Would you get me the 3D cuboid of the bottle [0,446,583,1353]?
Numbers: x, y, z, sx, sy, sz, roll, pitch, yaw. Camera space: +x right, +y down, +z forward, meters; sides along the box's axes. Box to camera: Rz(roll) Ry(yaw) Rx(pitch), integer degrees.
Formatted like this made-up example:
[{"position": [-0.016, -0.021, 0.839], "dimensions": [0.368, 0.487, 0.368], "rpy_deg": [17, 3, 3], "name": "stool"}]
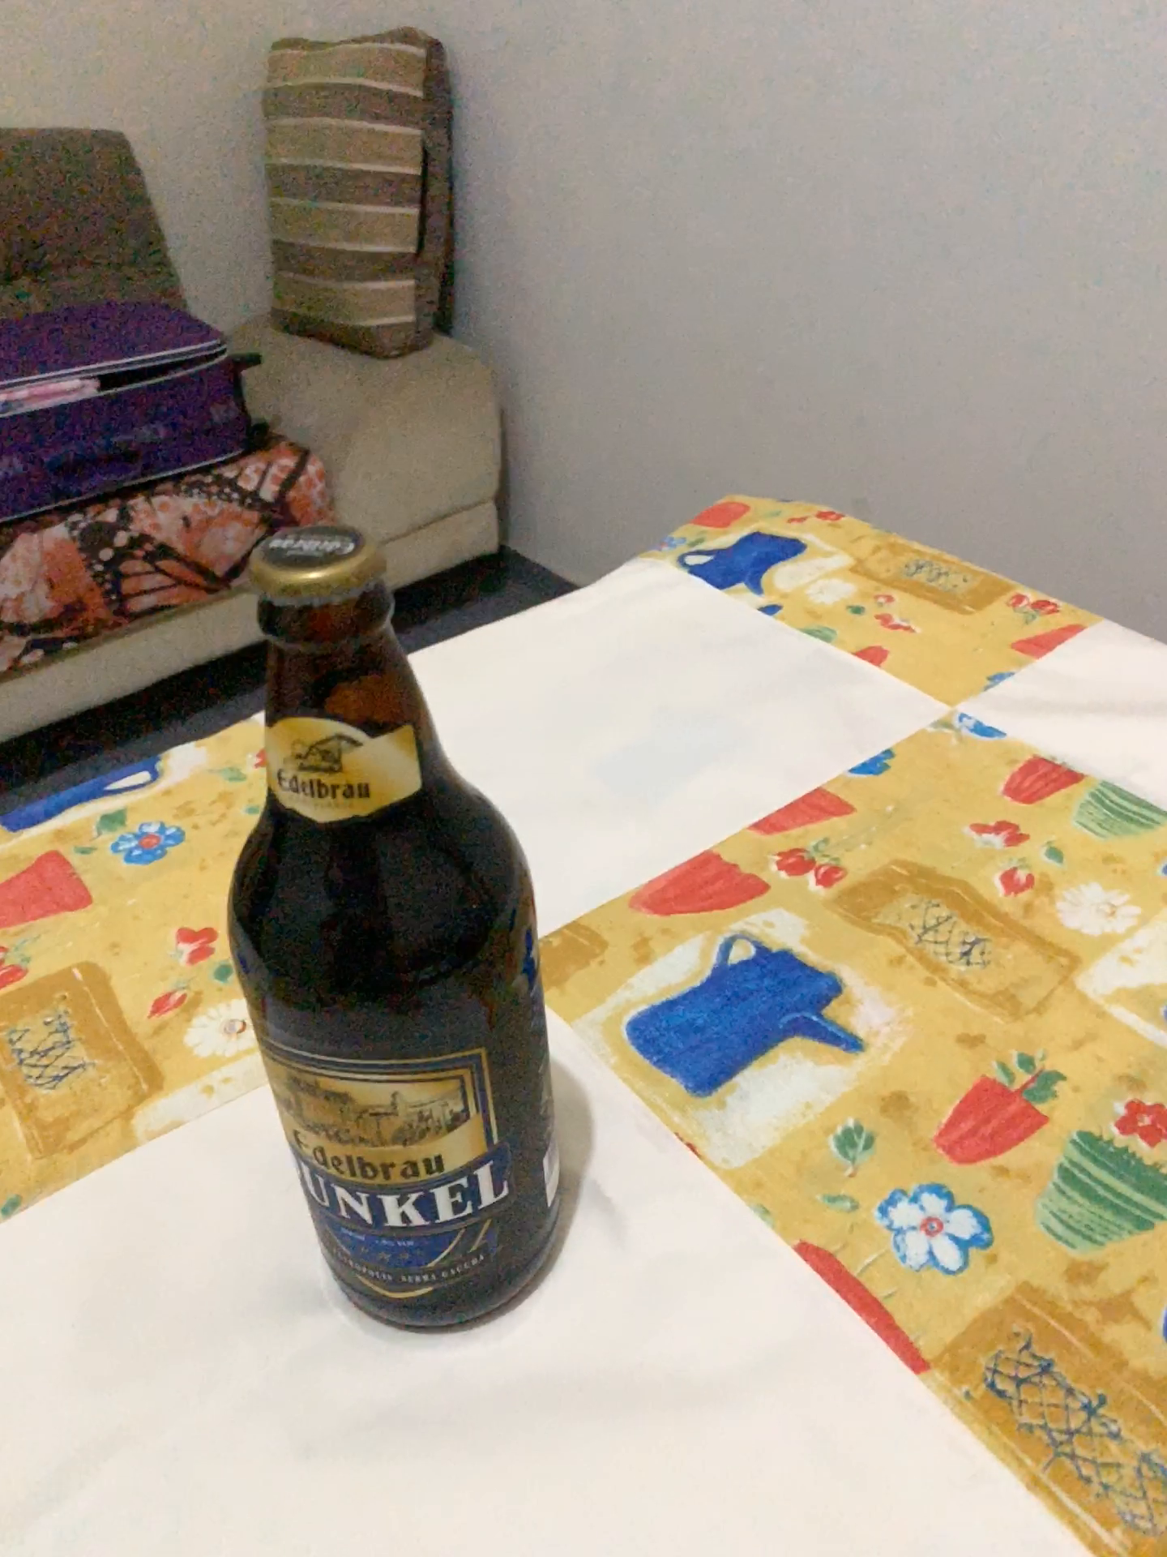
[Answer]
[{"position": [-0.053, 0.039, 0.299], "dimensions": [0.080, 0.219, 0.080], "rpy_deg": [-3, 35, 2], "name": "bottle"}]
